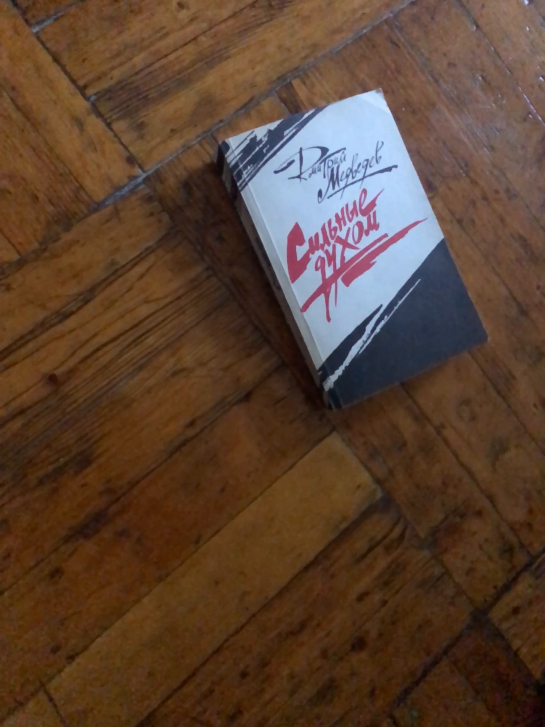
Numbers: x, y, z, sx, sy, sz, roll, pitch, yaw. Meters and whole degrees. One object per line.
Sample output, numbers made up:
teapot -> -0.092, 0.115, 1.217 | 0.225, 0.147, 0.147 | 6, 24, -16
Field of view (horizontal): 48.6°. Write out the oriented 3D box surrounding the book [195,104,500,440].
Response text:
book -> 0.056, -0.069, 0.464 | 0.140, 0.050, 0.210 | -30, 90, -15
